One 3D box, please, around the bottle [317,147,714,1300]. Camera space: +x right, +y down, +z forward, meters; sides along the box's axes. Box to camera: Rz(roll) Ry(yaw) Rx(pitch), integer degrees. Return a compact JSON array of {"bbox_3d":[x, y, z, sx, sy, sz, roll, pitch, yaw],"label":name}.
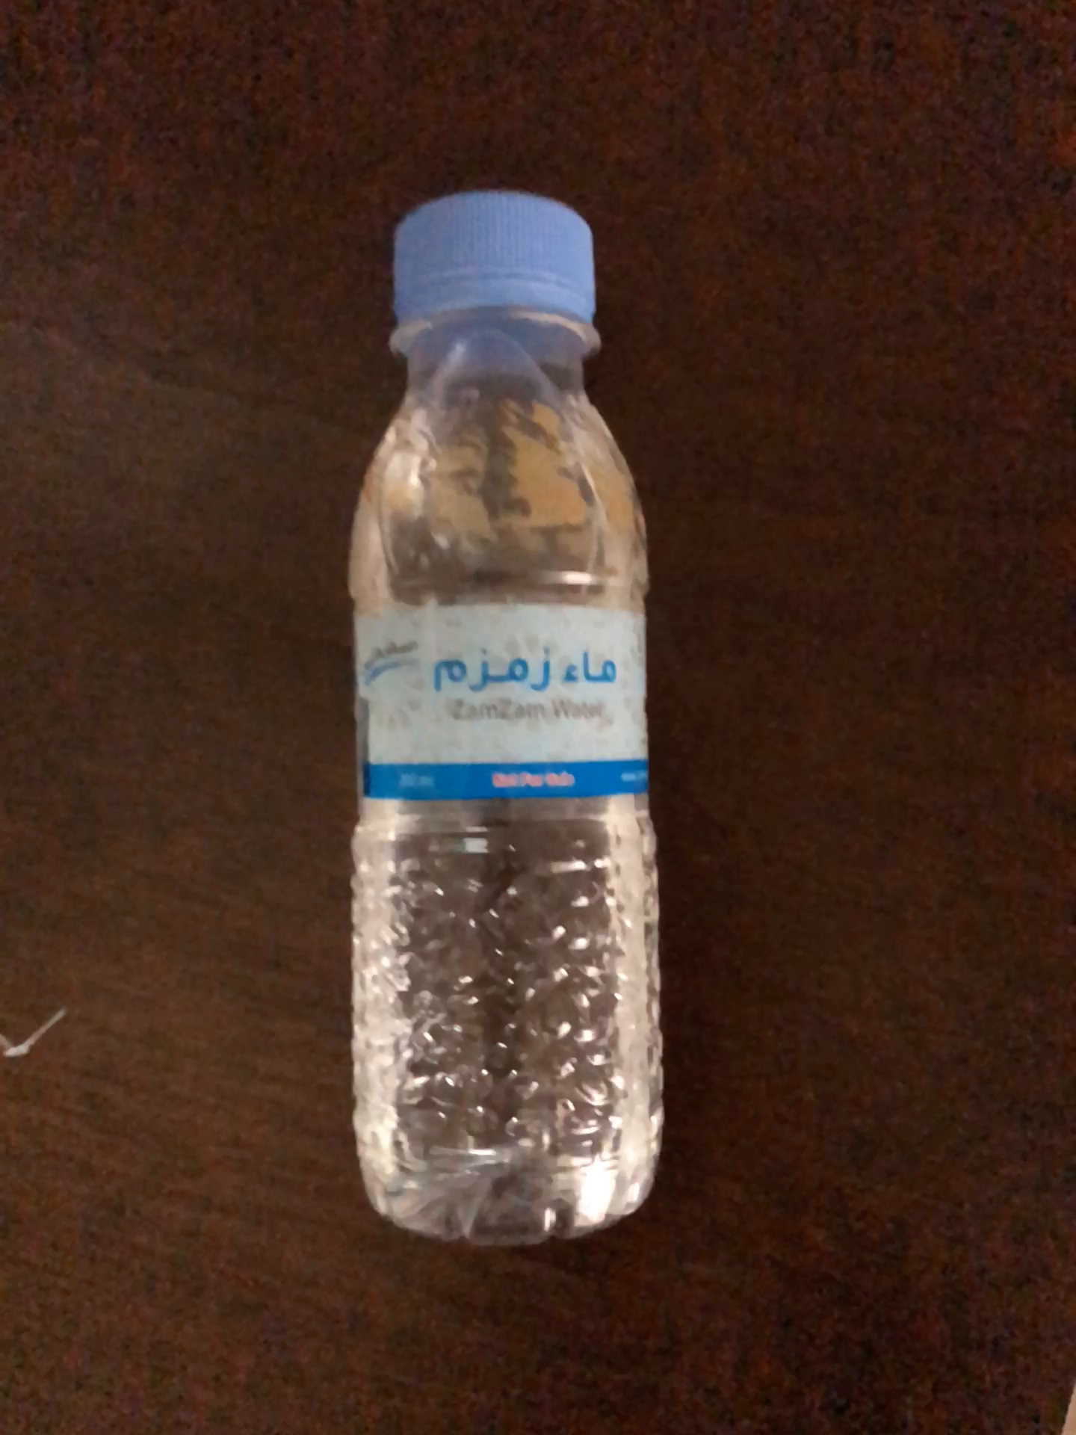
[{"bbox_3d":[-0.005,0.000,0.195,0.050,0.050,0.160,-2,89,-4],"label":"bottle"}]
